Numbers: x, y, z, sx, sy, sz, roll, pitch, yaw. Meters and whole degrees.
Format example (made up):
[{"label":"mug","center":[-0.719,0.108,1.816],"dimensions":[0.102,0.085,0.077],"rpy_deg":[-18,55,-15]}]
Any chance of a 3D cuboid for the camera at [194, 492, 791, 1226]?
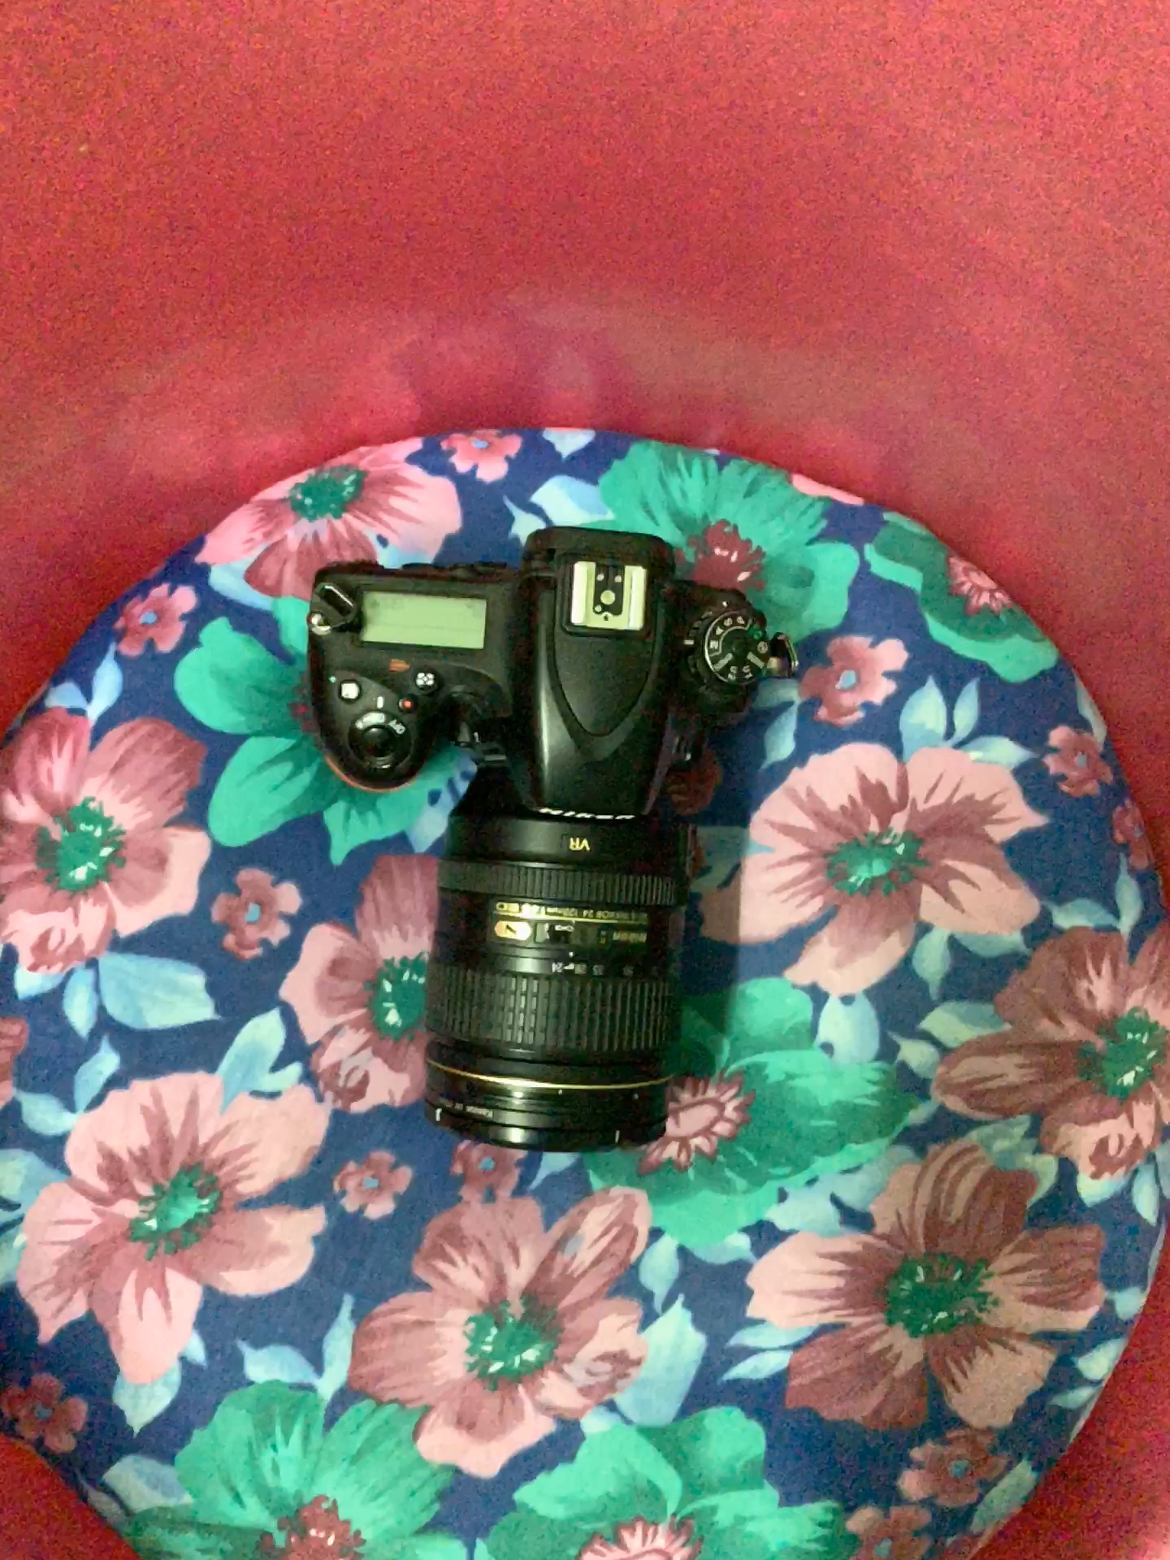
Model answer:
[{"label":"camera","center":[-0.024,0.024,0.367],"dimensions":[0.140,0.111,0.180],"rpy_deg":[4,84,-2]}]
